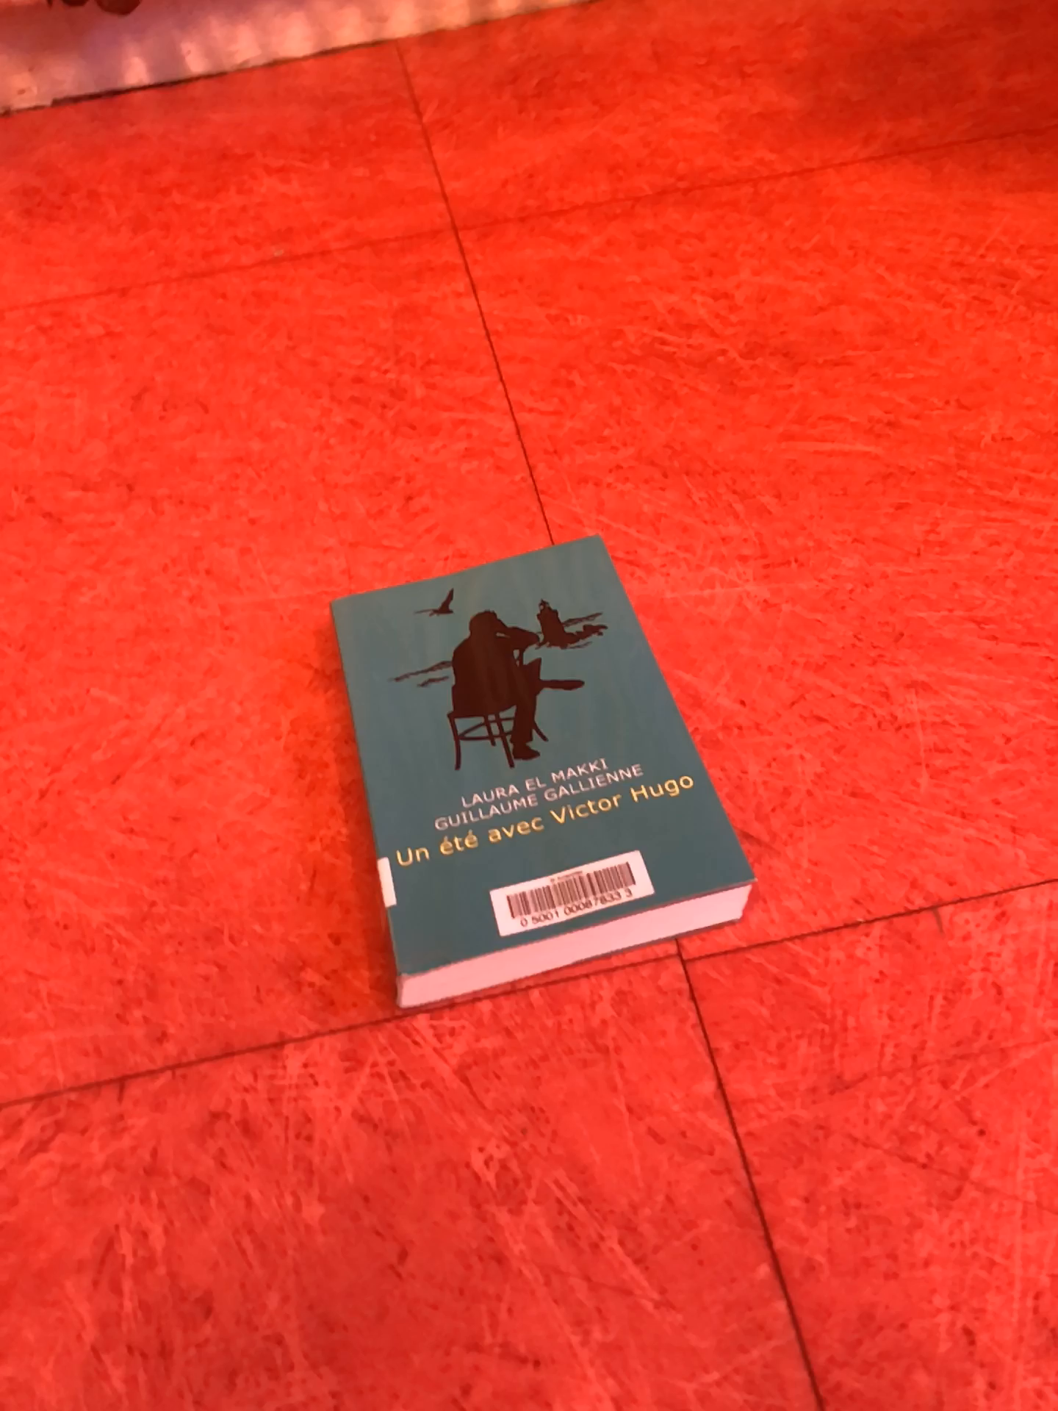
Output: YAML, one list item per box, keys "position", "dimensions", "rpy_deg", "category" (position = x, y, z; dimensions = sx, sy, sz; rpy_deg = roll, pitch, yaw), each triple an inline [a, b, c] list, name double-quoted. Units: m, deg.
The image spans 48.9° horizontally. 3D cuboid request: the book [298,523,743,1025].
- position: [-0.012, 0.011, 0.384]
  dimensions: [0.110, 0.020, 0.171]
  rpy_deg: [-14, 47, -4]
  category: "book"
